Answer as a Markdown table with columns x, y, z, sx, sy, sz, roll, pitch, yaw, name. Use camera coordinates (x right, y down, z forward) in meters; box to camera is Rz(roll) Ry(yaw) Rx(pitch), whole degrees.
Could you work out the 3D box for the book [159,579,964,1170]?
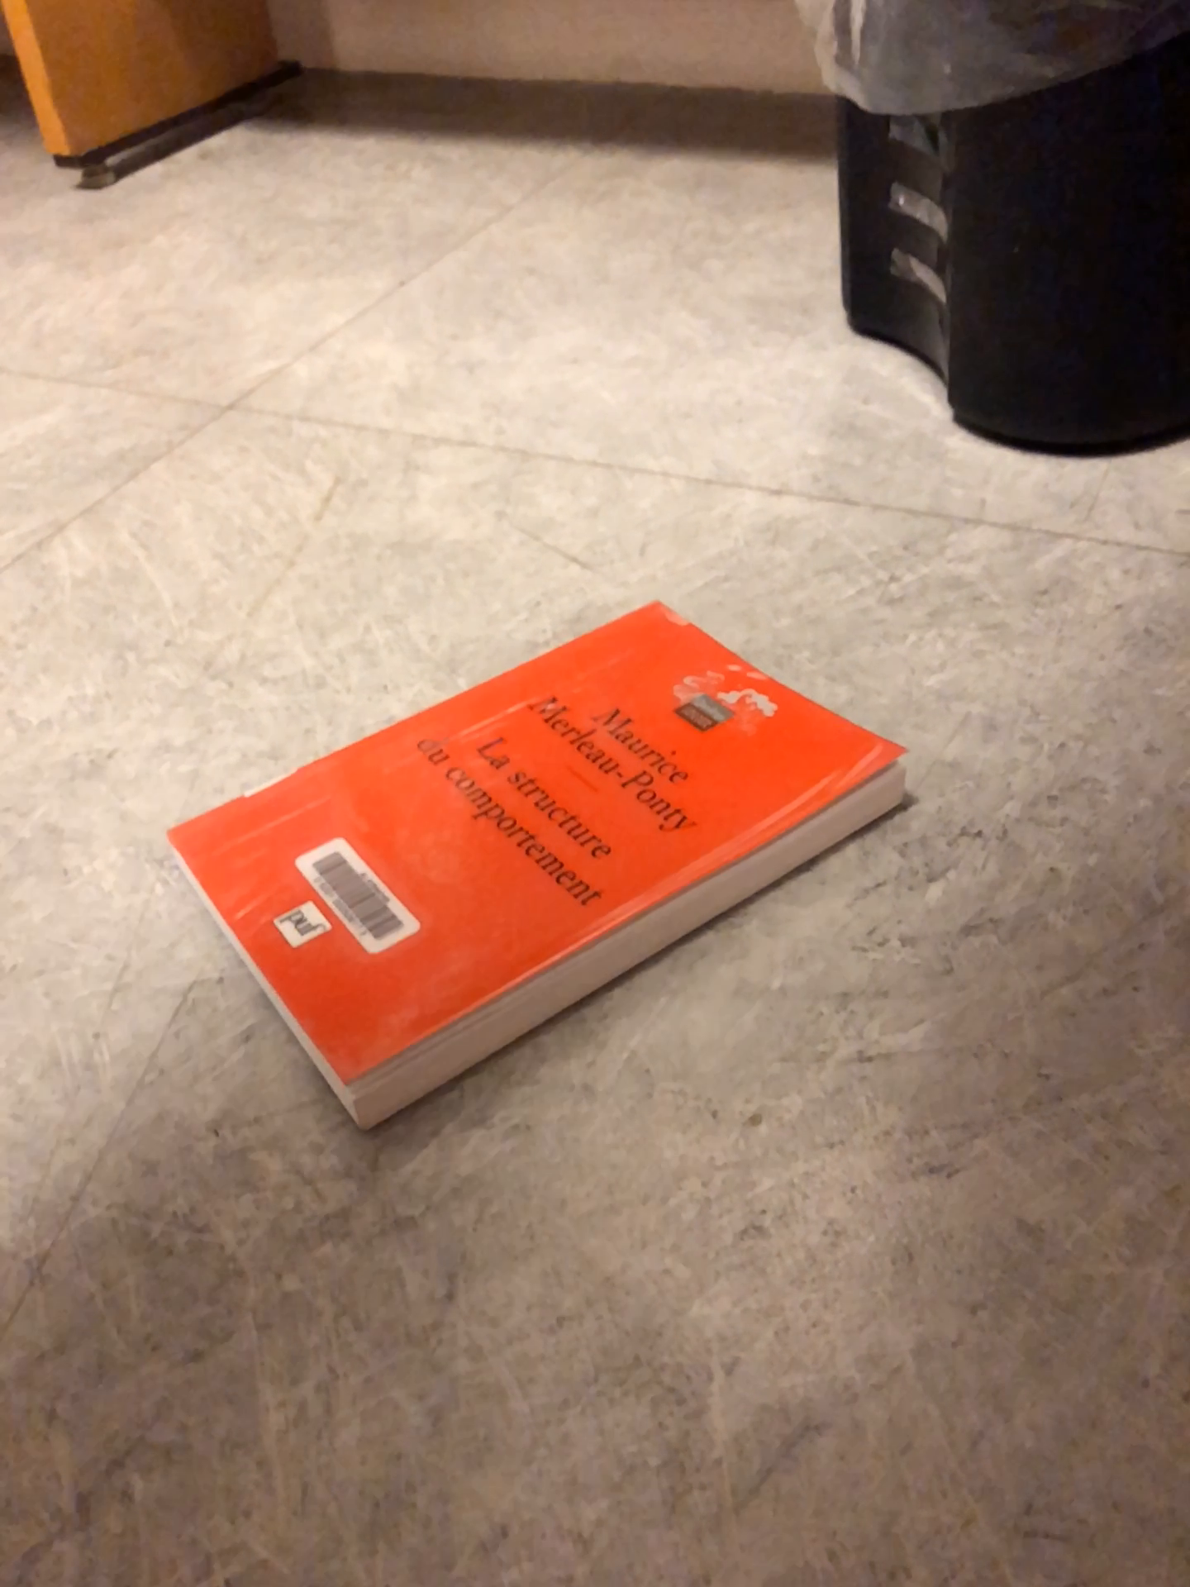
| x | y | z | sx | sy | sz | roll | pitch | yaw | name |
| --- | --- | --- | --- | --- | --- | --- | --- | --- | --- |
| -0.010 | 0.007 | 0.399 | 0.201 | 0.020 | 0.135 | -28 | 46 | -23 | book |
